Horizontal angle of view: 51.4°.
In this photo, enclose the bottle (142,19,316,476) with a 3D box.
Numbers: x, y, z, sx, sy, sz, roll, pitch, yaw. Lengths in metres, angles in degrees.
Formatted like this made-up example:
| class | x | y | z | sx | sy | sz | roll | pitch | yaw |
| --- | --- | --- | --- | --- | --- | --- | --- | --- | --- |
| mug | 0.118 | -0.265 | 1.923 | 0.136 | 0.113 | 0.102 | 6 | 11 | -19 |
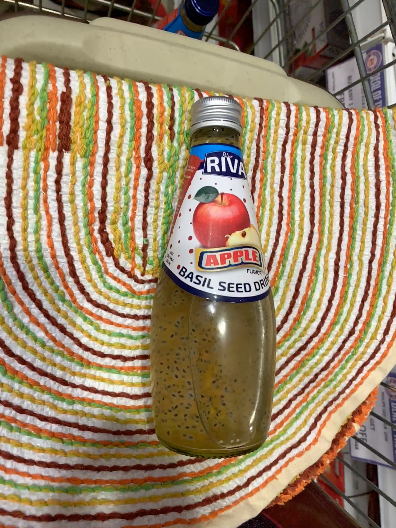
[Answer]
| class | x | y | z | sx | sy | sz | roll | pitch | yaw |
| --- | --- | --- | --- | --- | --- | --- | --- | --- | --- |
| bottle | 0.011 | -0.010 | 0.213 | 0.070 | 0.050 | 0.200 | 2 | 82 | -21 |
